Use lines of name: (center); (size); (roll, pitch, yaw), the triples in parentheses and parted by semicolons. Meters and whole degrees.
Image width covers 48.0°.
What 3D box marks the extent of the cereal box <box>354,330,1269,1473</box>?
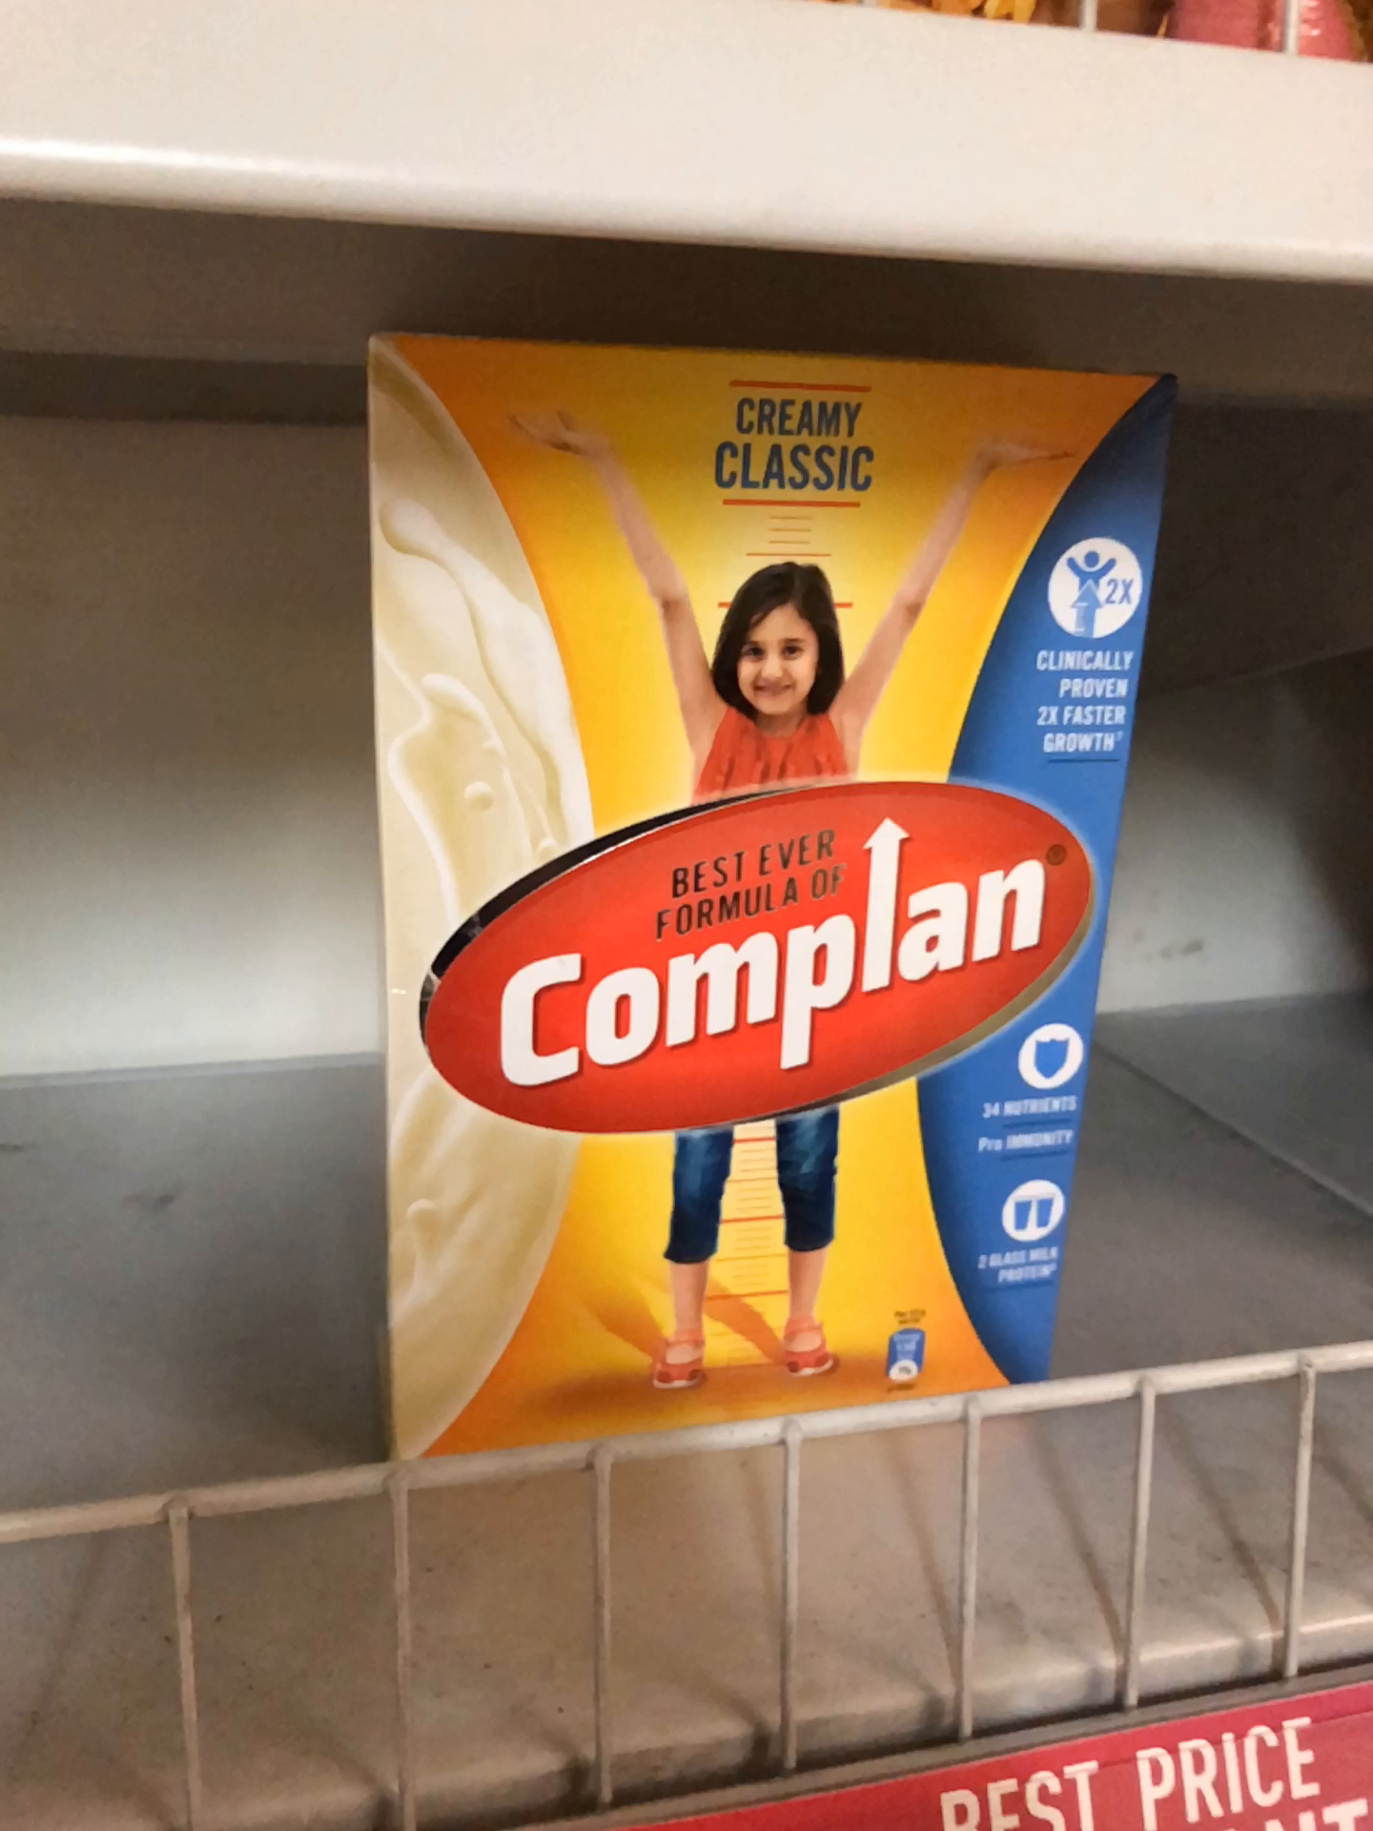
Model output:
cereal box: (0.017, -0.002, 0.296); (0.150, 0.199, 0.050); (-2, 18, -12)
